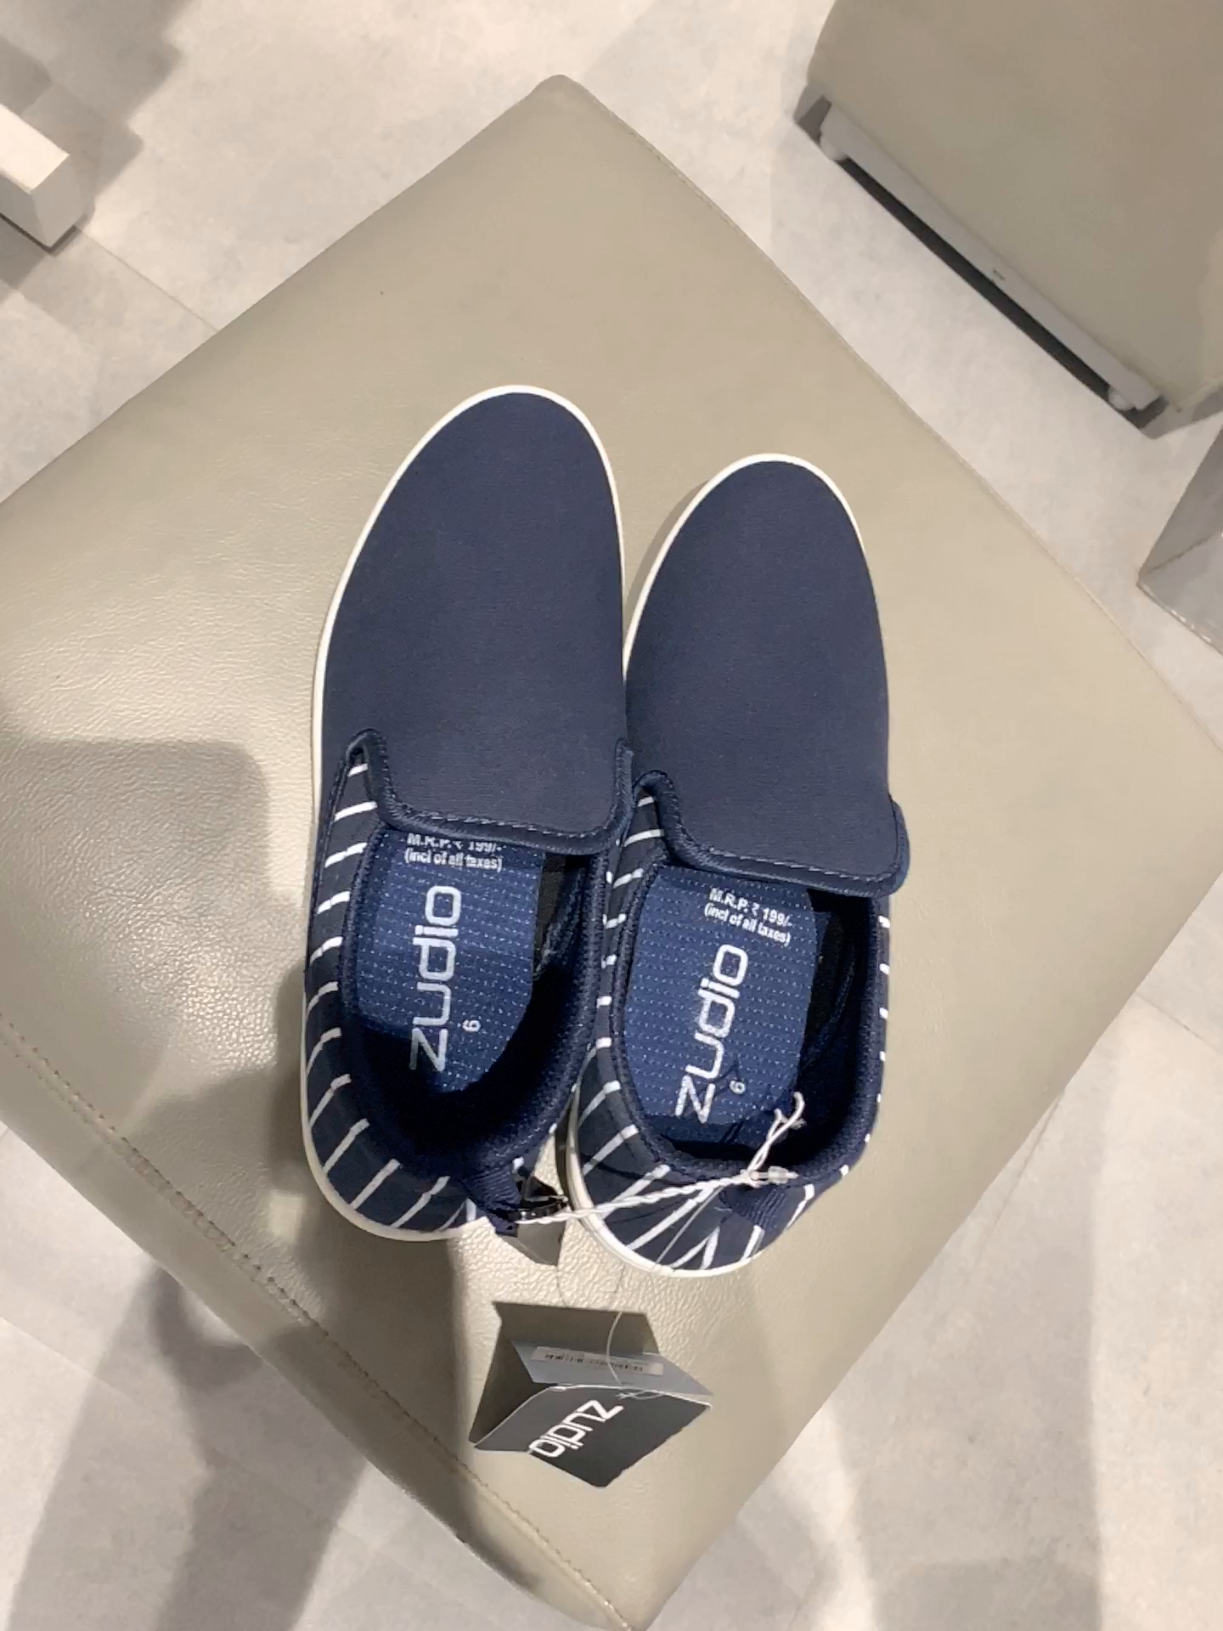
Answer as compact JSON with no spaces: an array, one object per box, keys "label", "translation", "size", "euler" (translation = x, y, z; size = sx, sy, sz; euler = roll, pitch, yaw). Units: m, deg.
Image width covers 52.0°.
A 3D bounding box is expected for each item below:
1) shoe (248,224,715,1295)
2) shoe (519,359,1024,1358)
[{"label":"shoe","translation":[-0.038,-0.014,0.376],"size":[0.100,0.090,0.280],"euler":[6,79,-12]},{"label":"shoe","translation":[0.050,0.012,0.397],"size":[0.100,0.090,0.270],"euler":[11,78,-11]}]
